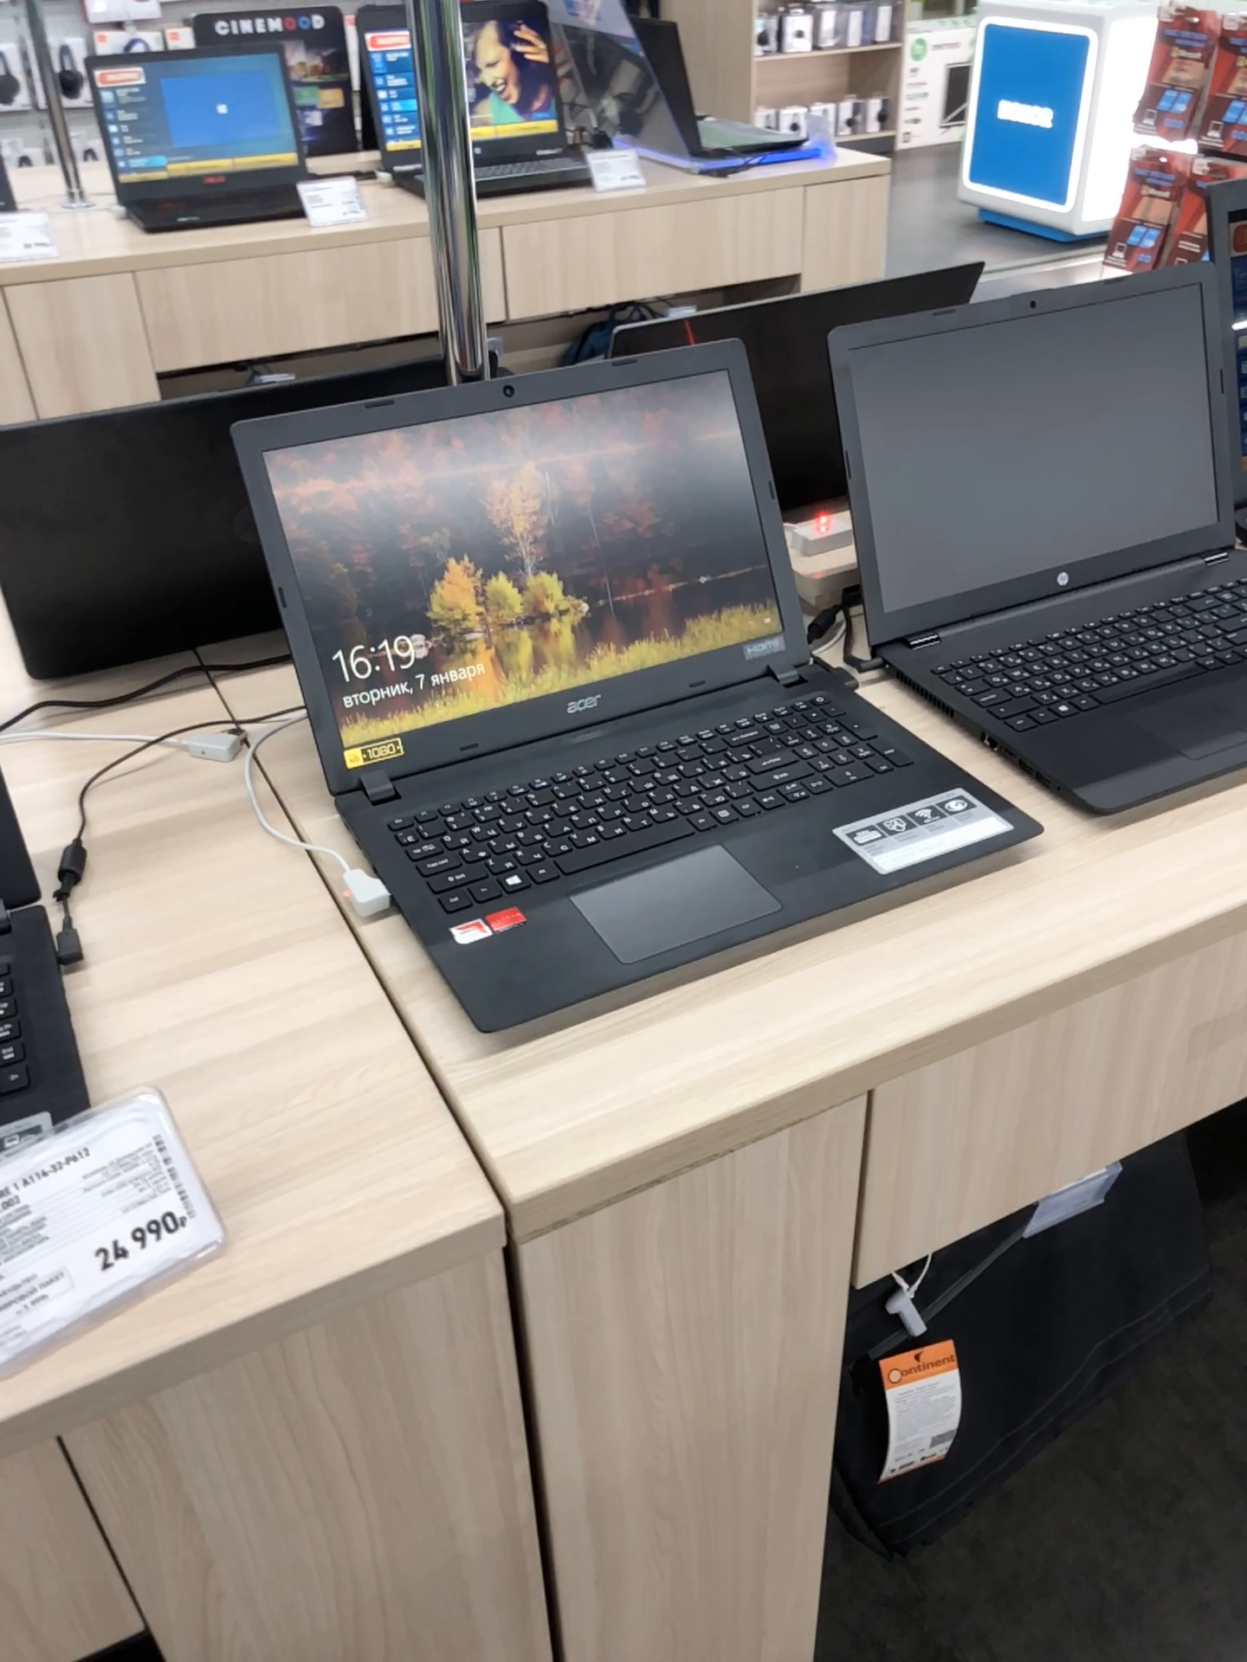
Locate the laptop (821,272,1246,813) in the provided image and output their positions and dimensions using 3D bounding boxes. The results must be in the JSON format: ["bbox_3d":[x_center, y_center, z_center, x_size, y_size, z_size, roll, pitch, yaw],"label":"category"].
[{"bbox_3d":[0.388,-0.238,0.991,0.378,0.212,0.339,-16,37,-20],"label":"laptop"}]

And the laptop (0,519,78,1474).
[{"bbox_3d":[-0.459,0.039,0.631,0.306,0.214,0.302,-17,38,-21],"label":"laptop"}]

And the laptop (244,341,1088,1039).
[{"bbox_3d":[0.008,-0.127,0.855,0.374,0.208,0.368,-18,38,-21],"label":"laptop"}]
